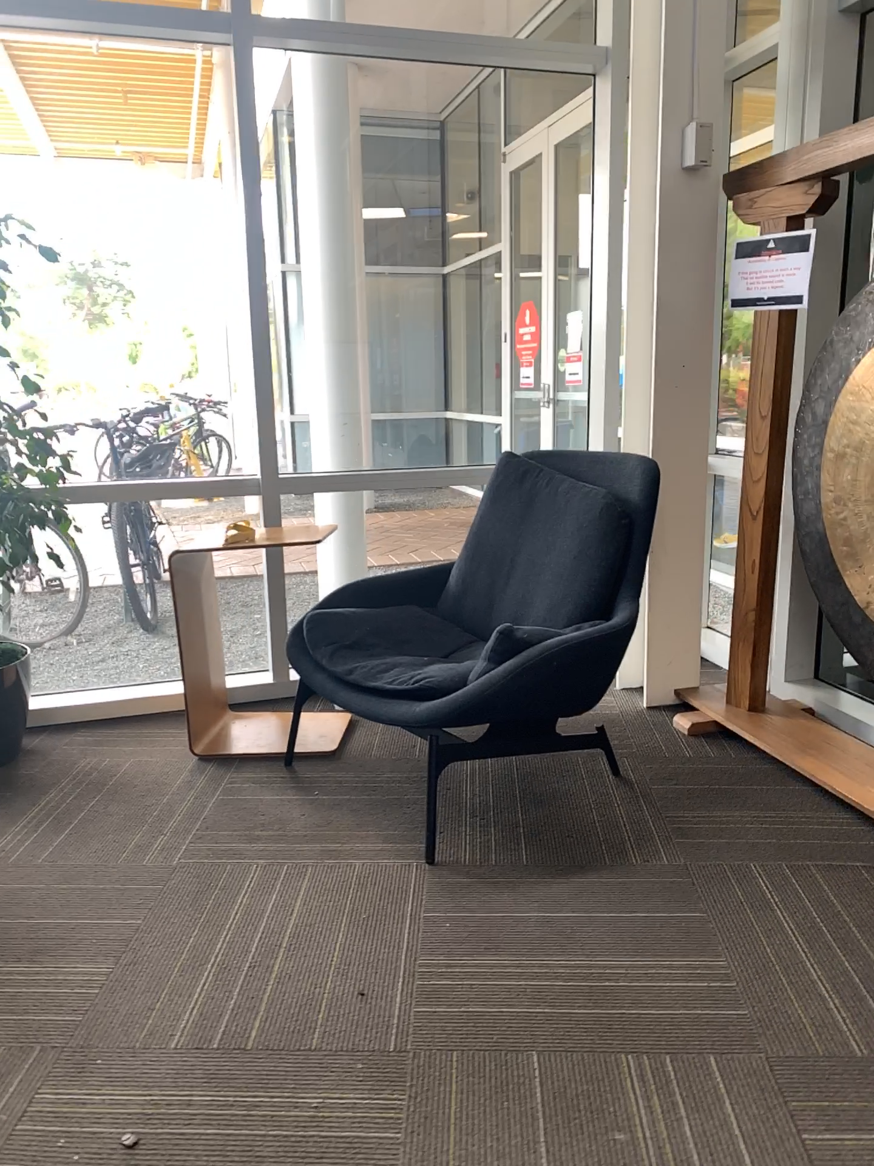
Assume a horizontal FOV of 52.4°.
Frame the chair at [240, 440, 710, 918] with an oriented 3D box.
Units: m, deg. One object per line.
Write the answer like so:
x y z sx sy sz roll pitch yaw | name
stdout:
0.098 0.133 2.556 0.941 0.997 0.903 -10 15 -37 | chair
